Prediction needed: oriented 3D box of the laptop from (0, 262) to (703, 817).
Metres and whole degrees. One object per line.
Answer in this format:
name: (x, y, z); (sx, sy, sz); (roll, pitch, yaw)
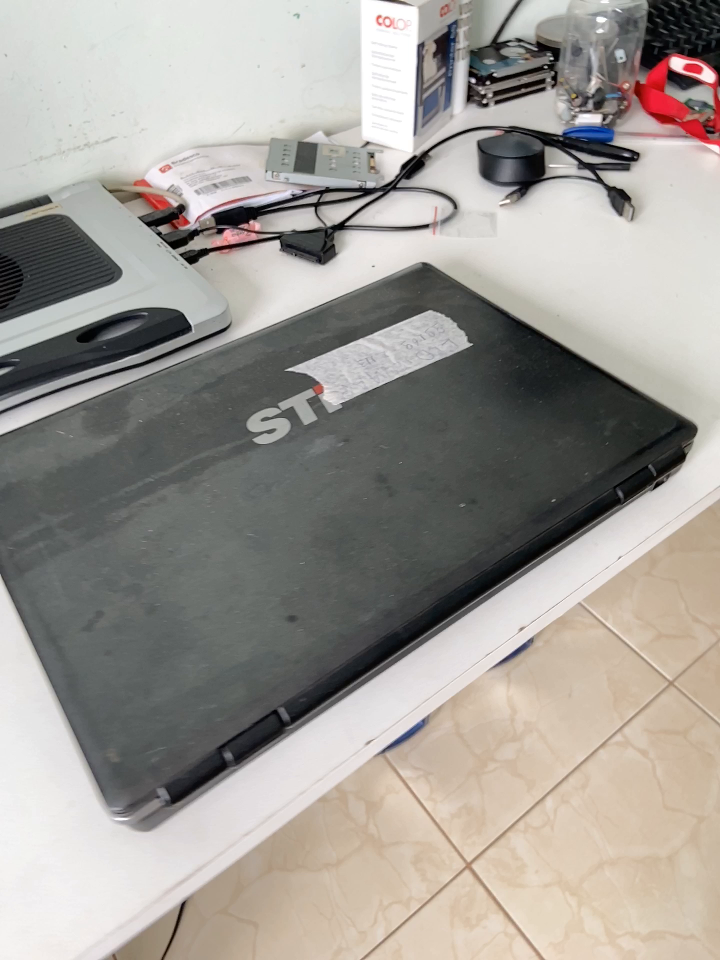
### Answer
laptop: (-0.019, -0.016, 0.411); (0.338, 0.006, 0.235); (-29, 50, -22)
